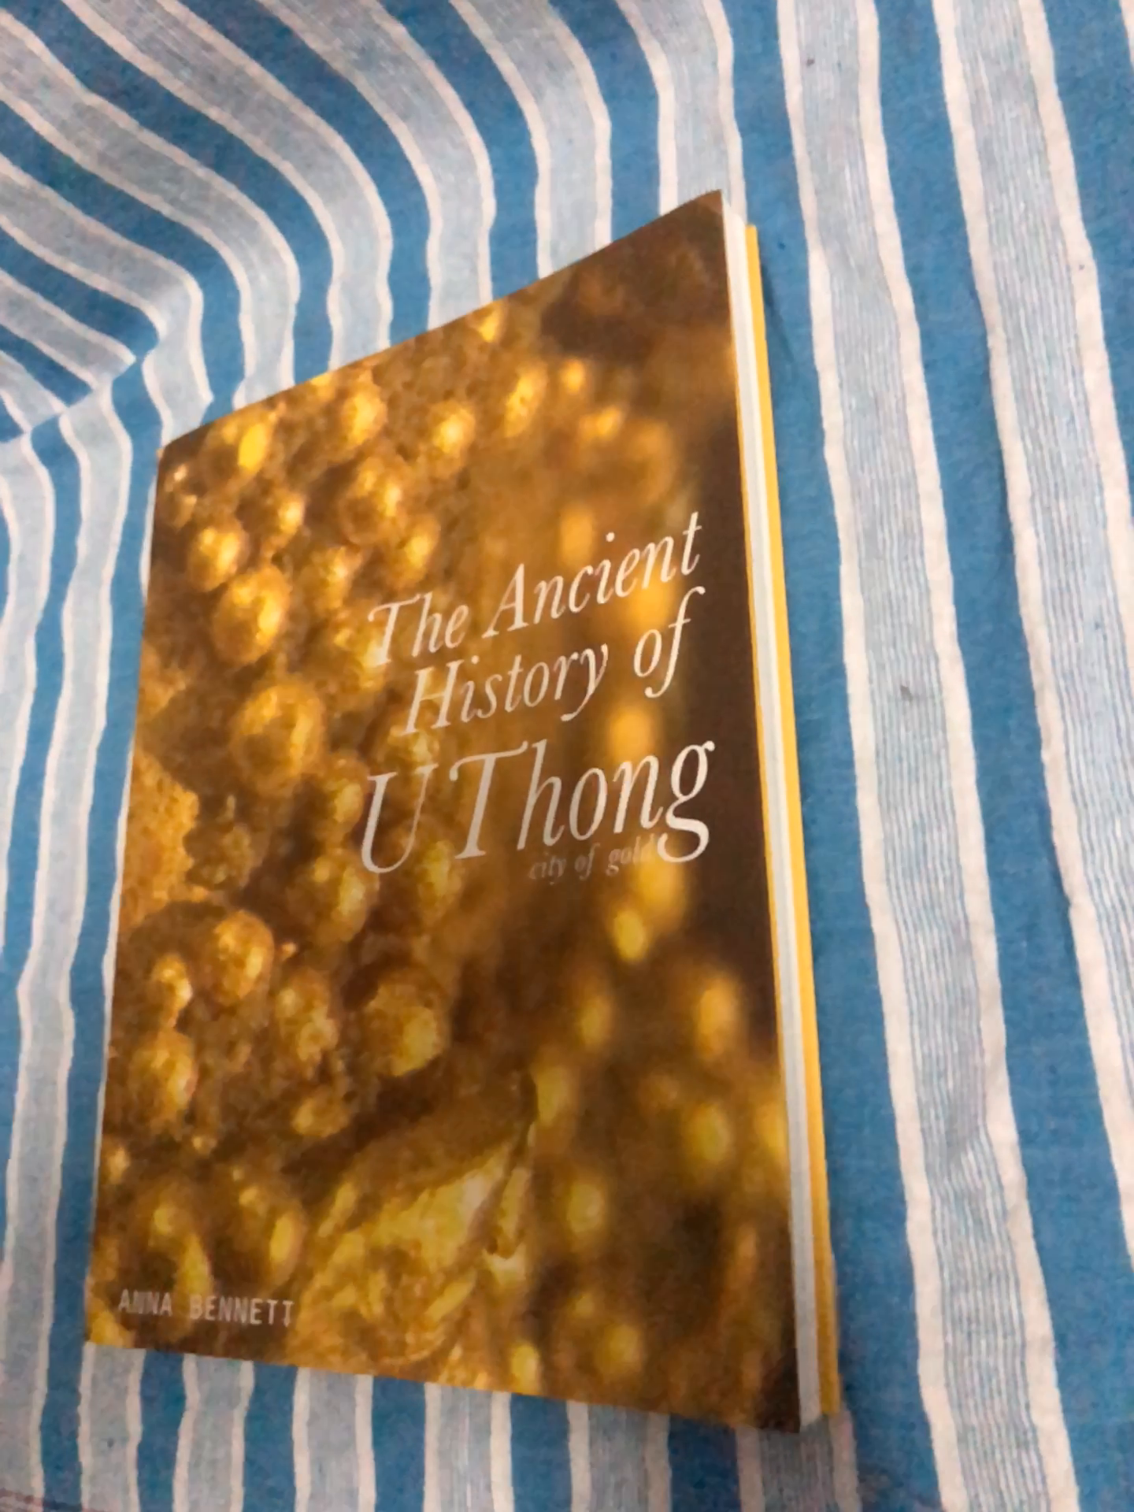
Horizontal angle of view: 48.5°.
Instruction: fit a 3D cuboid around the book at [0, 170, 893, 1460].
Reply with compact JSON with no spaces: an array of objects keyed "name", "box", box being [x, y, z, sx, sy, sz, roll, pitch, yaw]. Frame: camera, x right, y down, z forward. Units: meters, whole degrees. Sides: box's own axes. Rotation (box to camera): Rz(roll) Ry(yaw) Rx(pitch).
[{"name":"book","box":[-0.045,0.015,0.306,0.220,0.030,0.250,-11,72,30]}]
